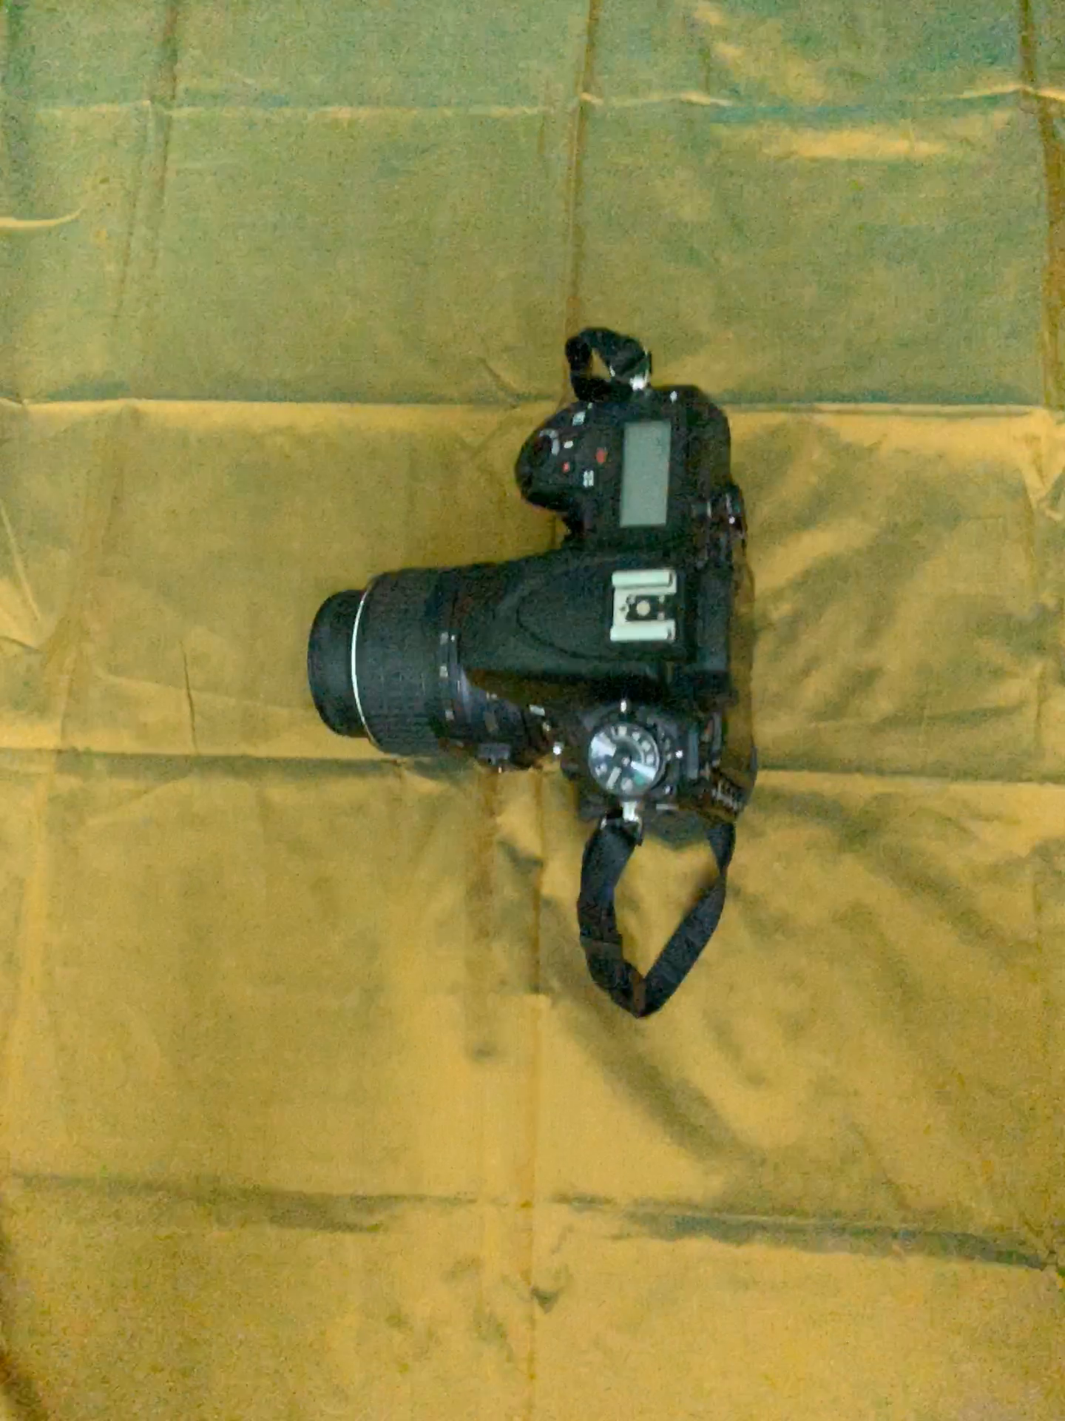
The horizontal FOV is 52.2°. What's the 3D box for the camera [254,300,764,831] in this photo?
[{"bbox_3d":[0.003,-0.034,0.369,0.131,0.120,0.135,-2,77,20],"label":"camera"}]
